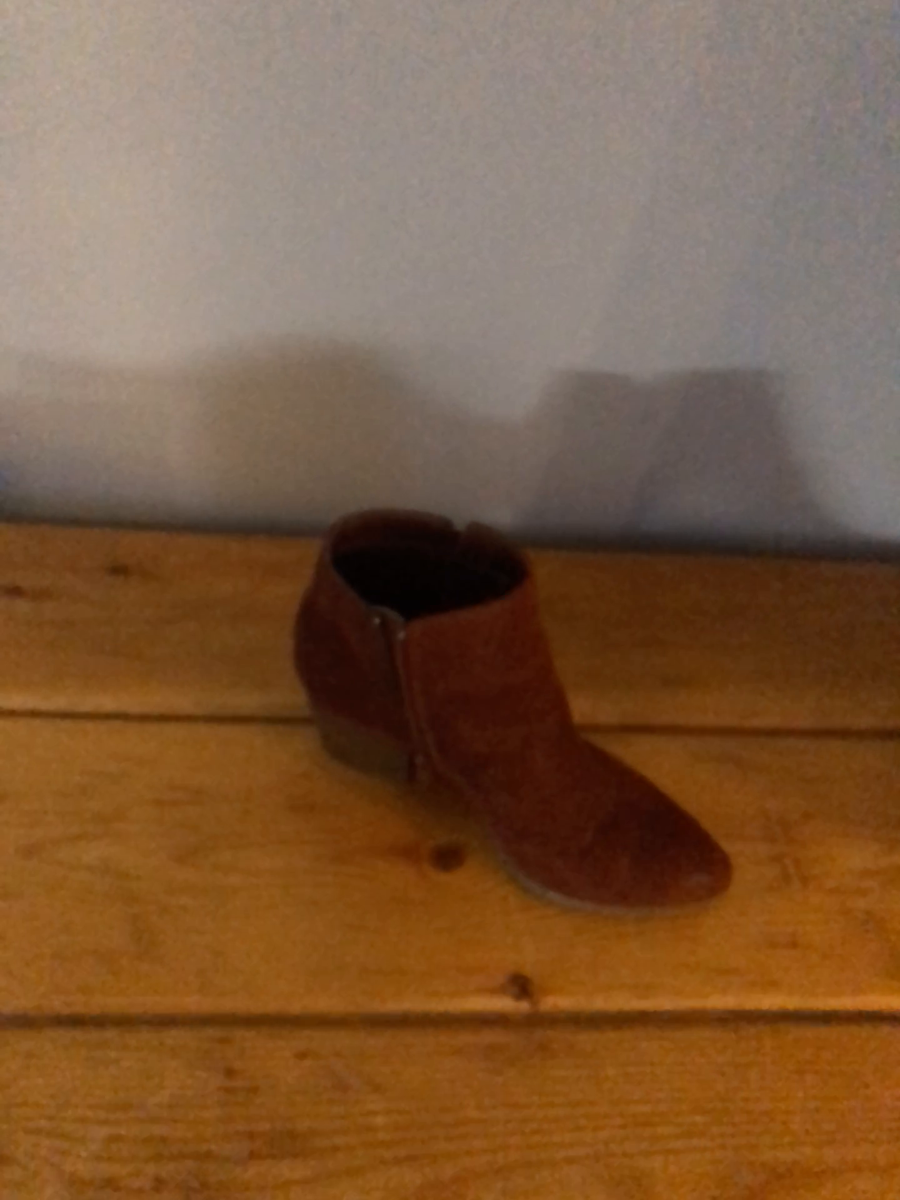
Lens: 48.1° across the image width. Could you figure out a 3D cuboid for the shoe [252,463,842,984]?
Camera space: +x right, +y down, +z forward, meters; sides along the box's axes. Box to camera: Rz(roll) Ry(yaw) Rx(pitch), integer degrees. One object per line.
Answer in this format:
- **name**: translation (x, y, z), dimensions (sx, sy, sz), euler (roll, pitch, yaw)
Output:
- **shoe**: translation (0.034, 0.061, 0.504), dimensions (0.250, 0.150, 0.090), euler (26, 51, 14)
